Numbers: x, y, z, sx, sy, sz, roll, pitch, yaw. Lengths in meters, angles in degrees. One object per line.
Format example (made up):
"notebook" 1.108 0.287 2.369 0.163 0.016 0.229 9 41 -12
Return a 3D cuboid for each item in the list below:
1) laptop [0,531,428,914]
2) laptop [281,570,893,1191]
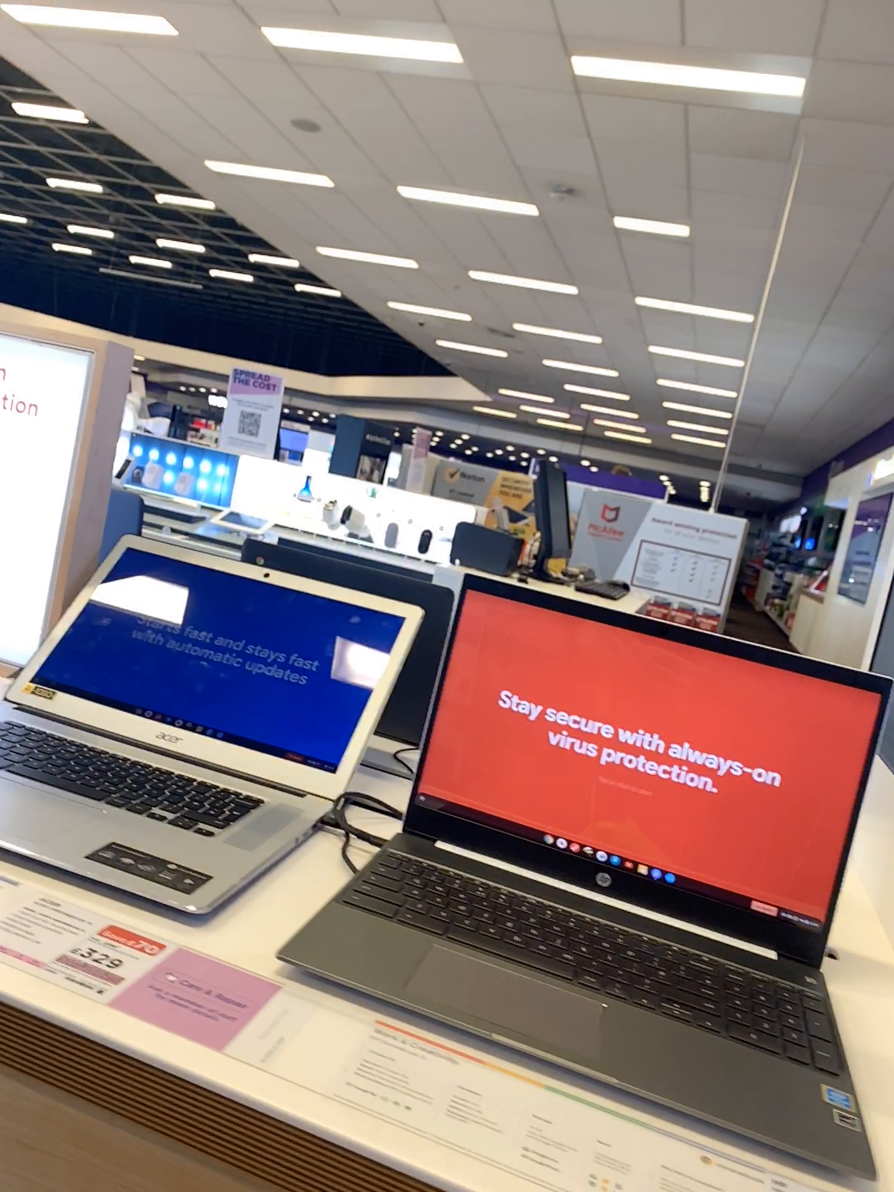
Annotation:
"laptop" -0.270 0.068 0.849 0.376 0.175 0.426 14 7 12
"laptop" 0.122 0.147 0.652 0.358 0.234 0.268 15 7 13
